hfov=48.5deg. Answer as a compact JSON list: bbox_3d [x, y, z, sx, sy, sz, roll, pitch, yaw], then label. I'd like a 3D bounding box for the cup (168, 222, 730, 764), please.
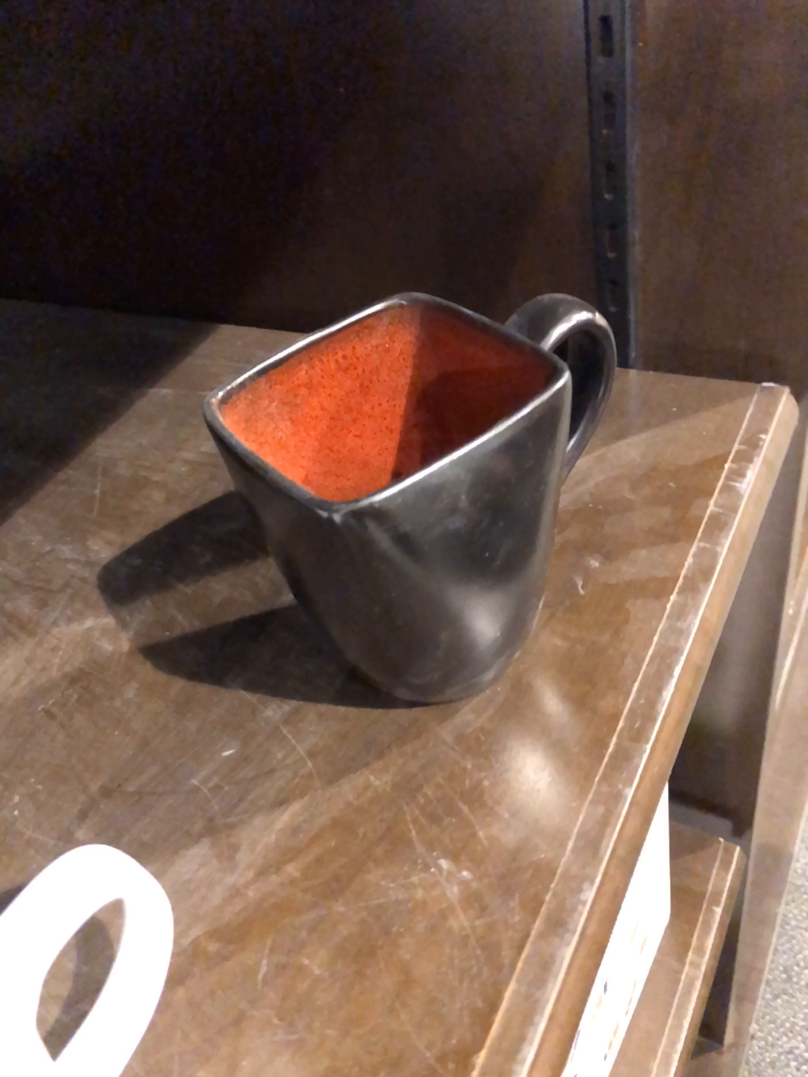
[{"bbox_3d":[0.017,-0.021,0.271,0.123,0.083,0.095,-33,43,-18],"label":"cup"}]
